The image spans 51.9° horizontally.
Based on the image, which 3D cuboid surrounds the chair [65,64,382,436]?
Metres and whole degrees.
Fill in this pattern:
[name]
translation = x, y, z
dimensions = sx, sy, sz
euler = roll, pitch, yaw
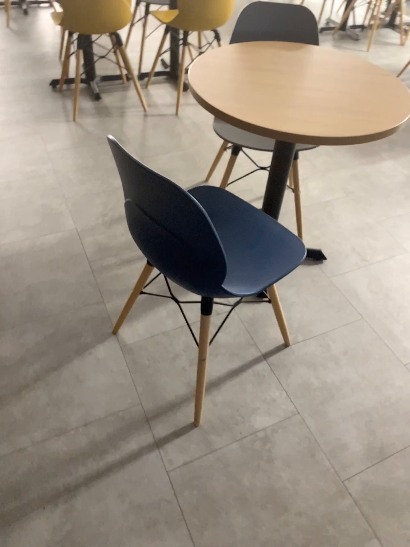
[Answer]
[chair]
translation = 0.016, -0.049, 1.211
dimensions = 0.499, 0.809, 0.492
euler = -31, 56, -30
